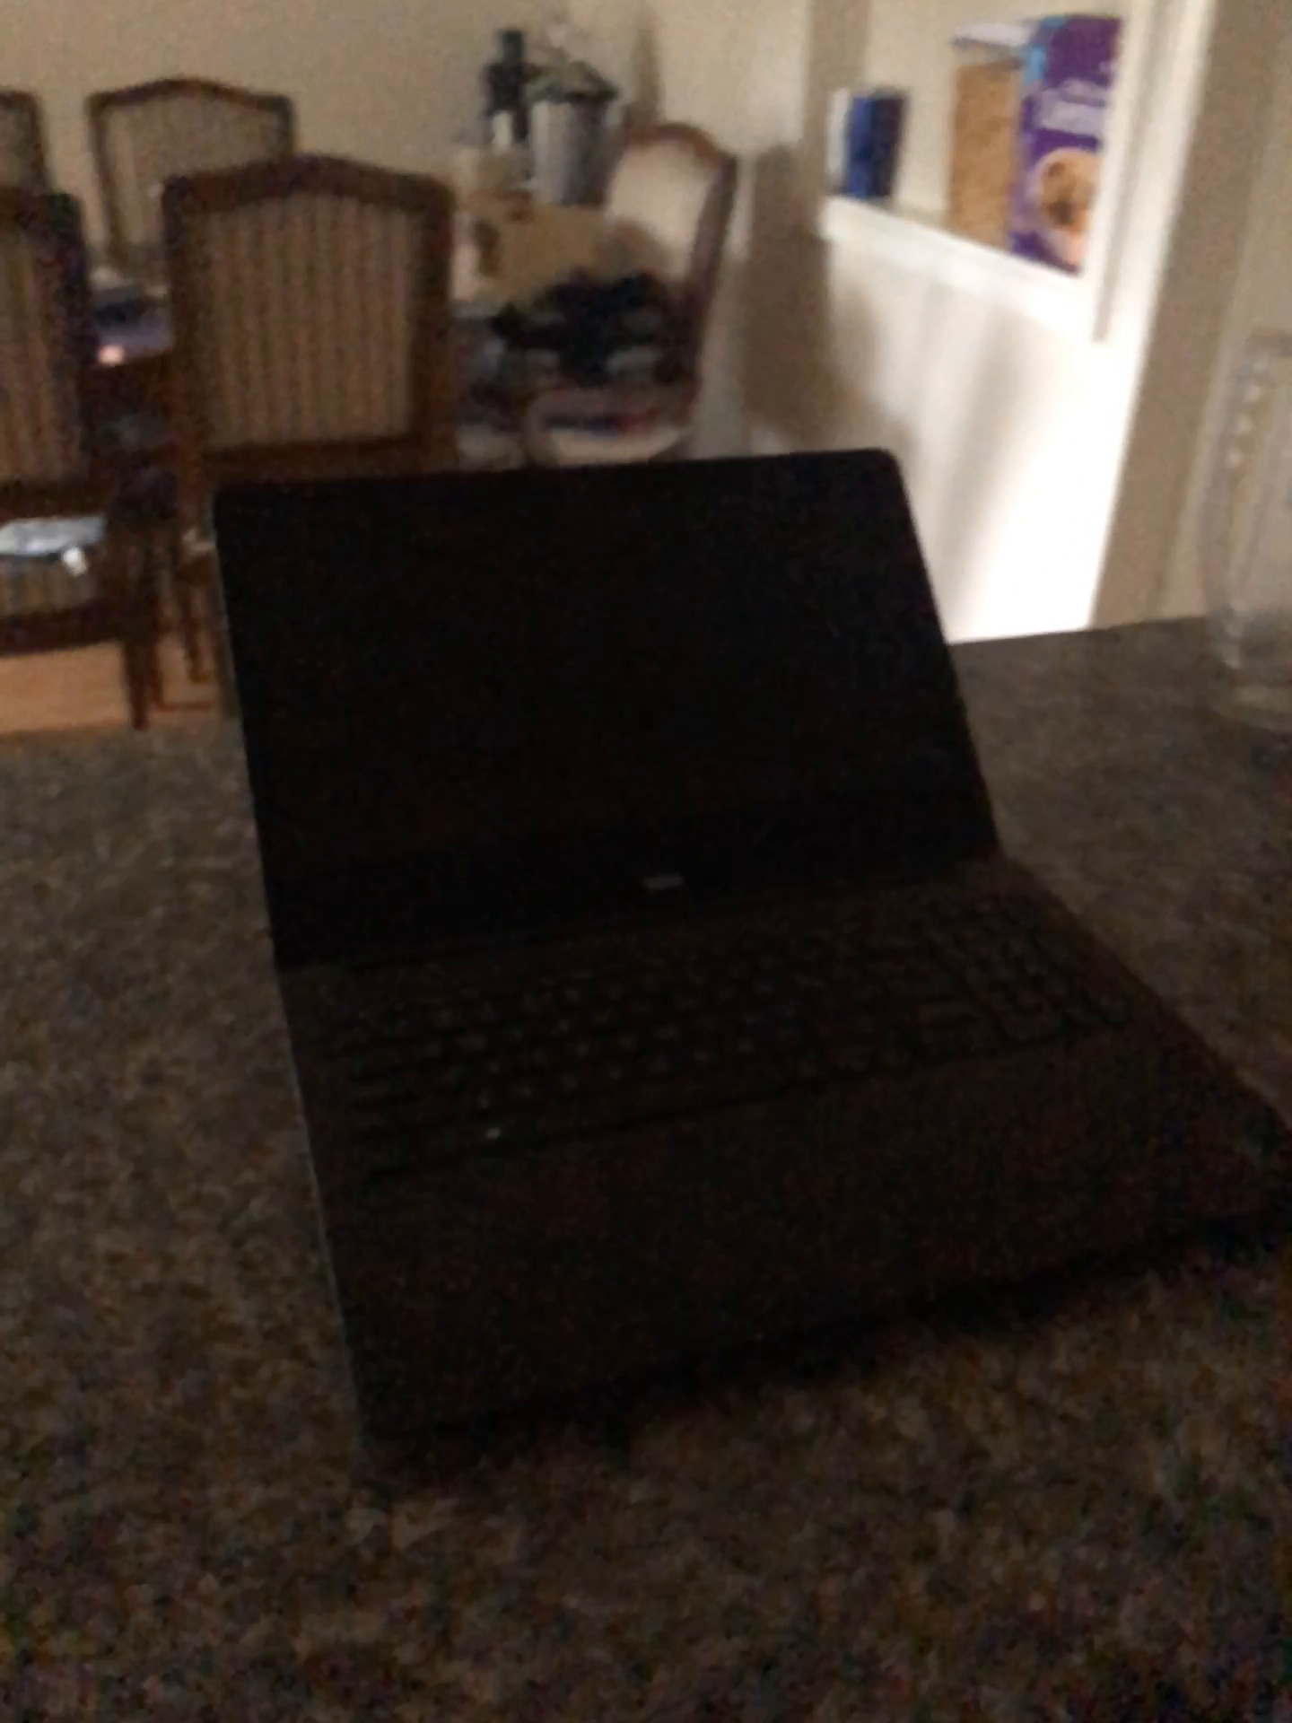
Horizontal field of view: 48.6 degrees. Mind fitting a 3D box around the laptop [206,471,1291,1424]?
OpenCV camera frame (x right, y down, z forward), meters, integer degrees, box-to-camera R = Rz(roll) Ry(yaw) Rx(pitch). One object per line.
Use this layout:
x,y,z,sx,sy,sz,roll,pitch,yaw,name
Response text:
0.020,-0.022,0.621,0.361,0.158,0.416,-8,33,-17,laptop
